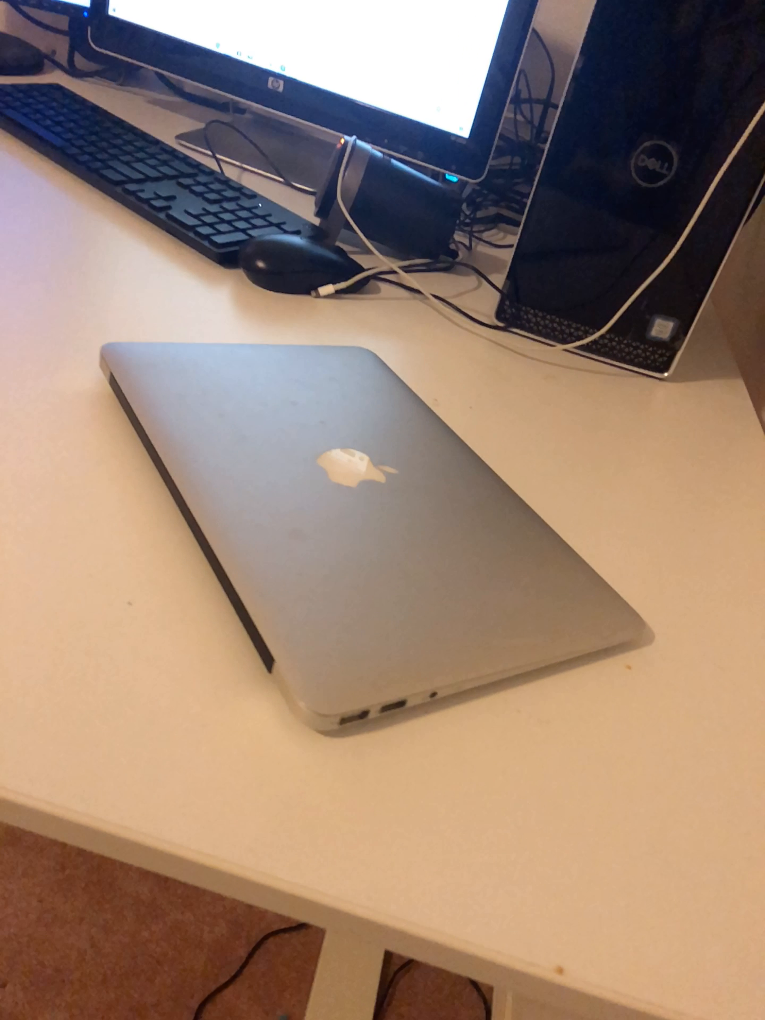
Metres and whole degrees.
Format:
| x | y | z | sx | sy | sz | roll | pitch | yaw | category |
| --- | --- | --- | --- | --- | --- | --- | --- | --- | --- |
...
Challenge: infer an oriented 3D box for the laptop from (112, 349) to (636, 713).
| x | y | z | sx | sy | sz | roll | pitch | yaw | category |
| --- | --- | --- | --- | --- | --- | --- | --- | --- | --- |
| -0.020 | -0.019 | 0.465 | 0.178 | 0.004 | 0.291 | -7 | 41 | -32 | laptop |
